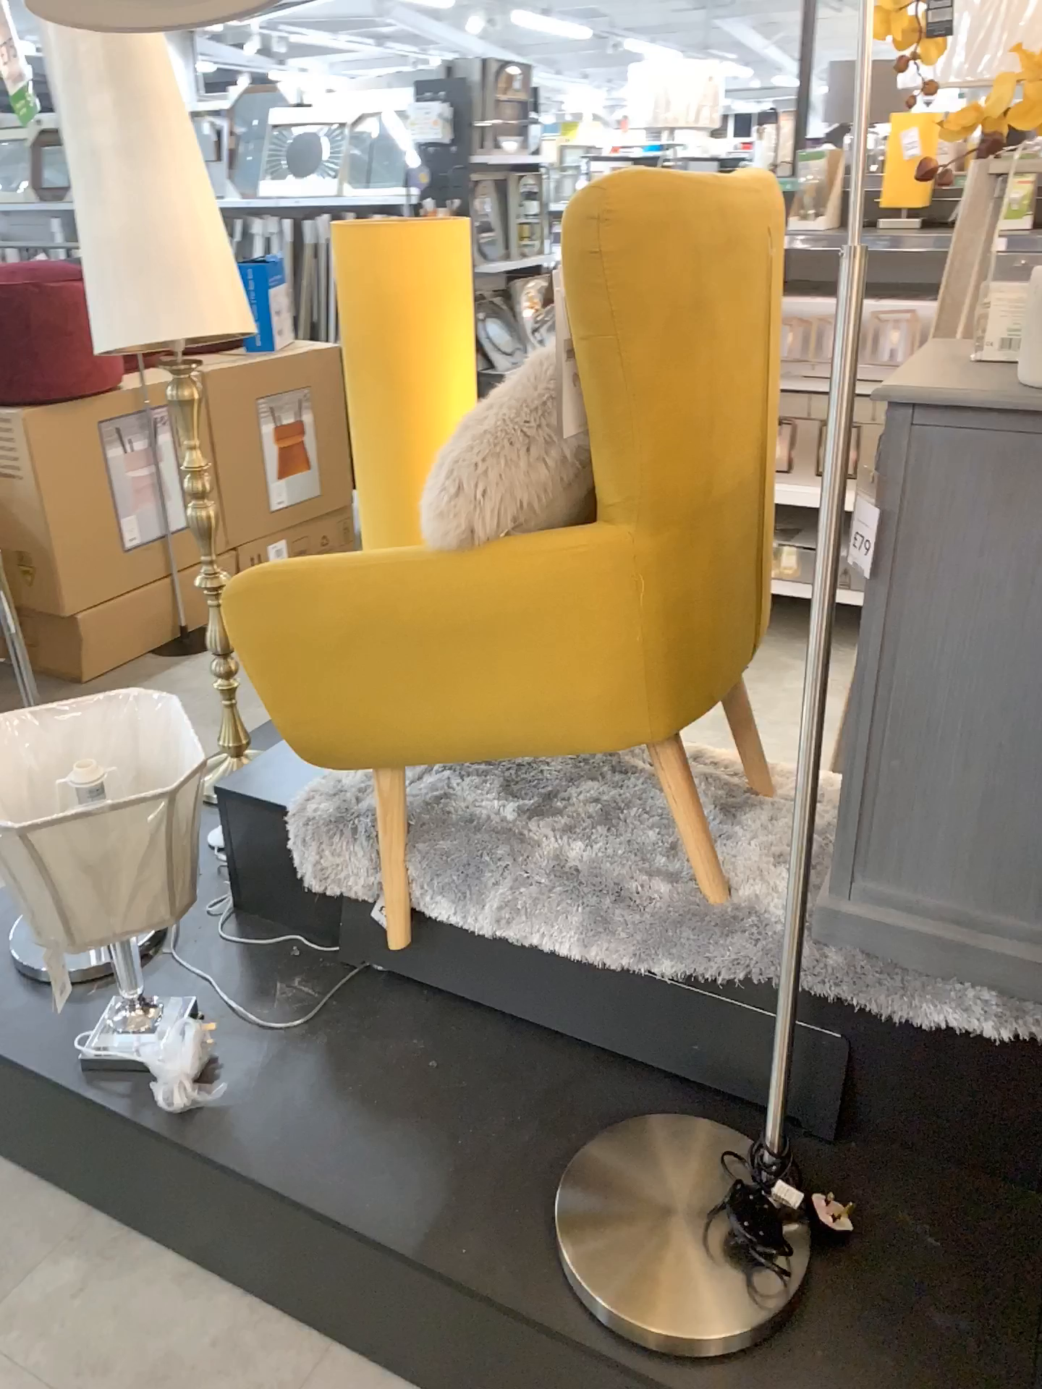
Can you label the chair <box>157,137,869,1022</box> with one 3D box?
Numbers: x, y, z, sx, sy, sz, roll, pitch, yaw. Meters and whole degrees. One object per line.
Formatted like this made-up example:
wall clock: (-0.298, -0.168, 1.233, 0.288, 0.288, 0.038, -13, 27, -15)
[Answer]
chair: (0.071, -0.181, 1.580, 0.711, 1.022, 0.594, 1, 23, 28)
